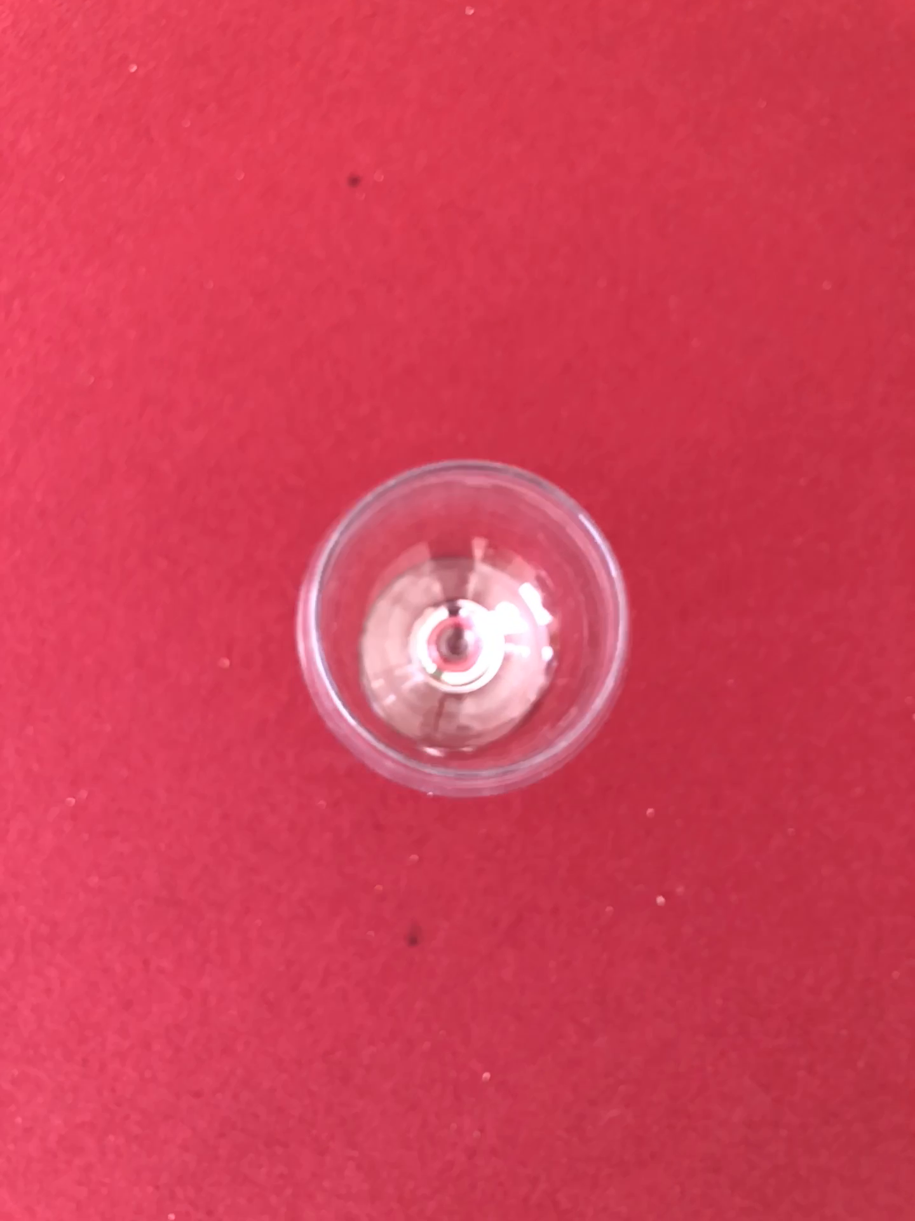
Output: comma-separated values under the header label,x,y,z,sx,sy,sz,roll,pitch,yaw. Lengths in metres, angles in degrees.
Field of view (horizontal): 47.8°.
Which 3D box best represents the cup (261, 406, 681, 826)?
label,x,y,z,sx,sy,sz,roll,pitch,yaw
cup,0.001,0.008,0.279,0.070,0.130,0.070,0,83,-3
